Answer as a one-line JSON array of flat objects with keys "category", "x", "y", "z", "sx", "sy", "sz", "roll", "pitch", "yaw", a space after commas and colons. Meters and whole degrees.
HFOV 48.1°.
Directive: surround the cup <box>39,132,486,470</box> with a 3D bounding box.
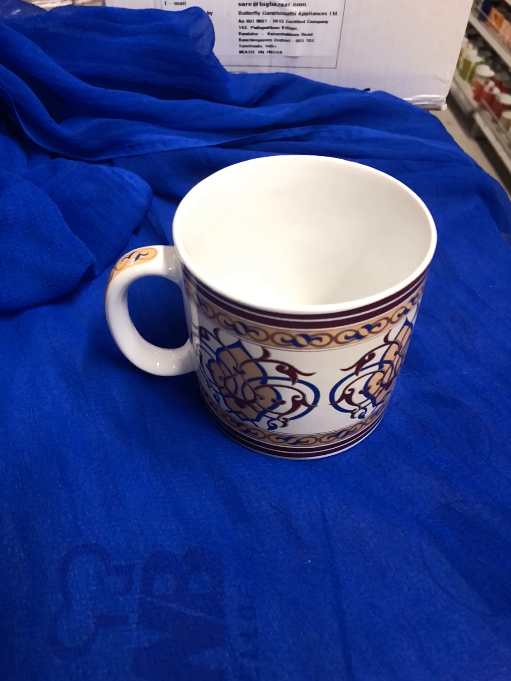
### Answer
[{"category": "cup", "x": -0.001, "y": -0.012, "z": 0.197, "sx": 0.110, "sy": 0.080, "sz": 0.080, "roll": 1, "pitch": 47, "yaw": -4}]
